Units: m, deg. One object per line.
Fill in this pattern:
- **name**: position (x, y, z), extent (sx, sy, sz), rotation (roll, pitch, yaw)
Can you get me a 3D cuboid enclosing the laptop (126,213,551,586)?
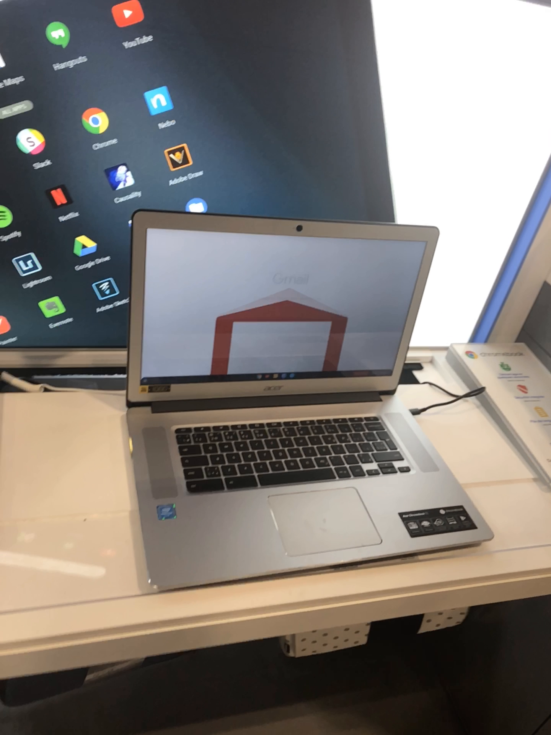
- **laptop**: position (0.047, 0.016, 0.661), extent (0.371, 0.243, 0.283), rotation (-2, 37, -20)
